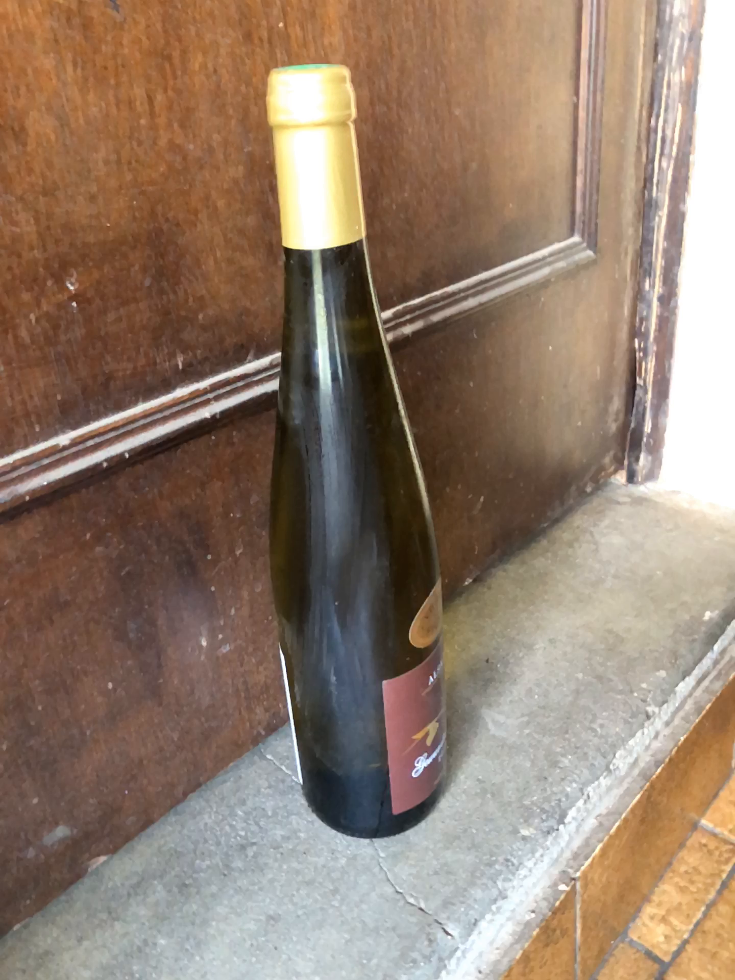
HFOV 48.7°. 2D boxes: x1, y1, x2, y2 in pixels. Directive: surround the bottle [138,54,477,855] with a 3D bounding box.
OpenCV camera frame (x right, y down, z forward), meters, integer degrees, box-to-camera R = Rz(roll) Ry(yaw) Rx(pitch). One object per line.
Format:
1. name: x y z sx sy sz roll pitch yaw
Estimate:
1. bottle: -0.004 0.003 0.328 0.080 0.308 0.081 -4 28 2
